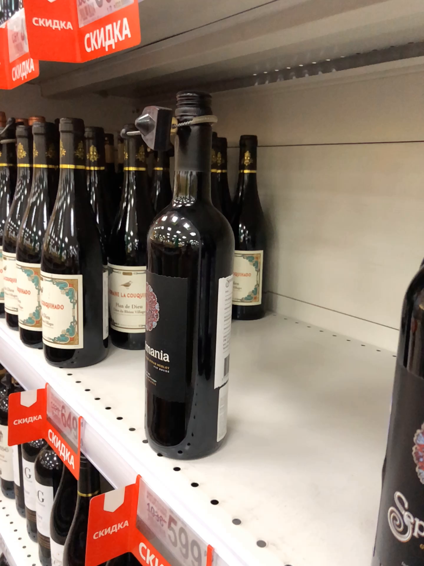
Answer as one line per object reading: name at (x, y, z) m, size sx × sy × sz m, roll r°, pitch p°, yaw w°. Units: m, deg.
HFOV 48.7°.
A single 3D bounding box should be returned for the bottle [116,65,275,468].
bottle at (-0.019, -0.012, 0.392) m, size 0.090 × 0.291 × 0.090 m, roll 1°, pitch 13°, yaw 0°
